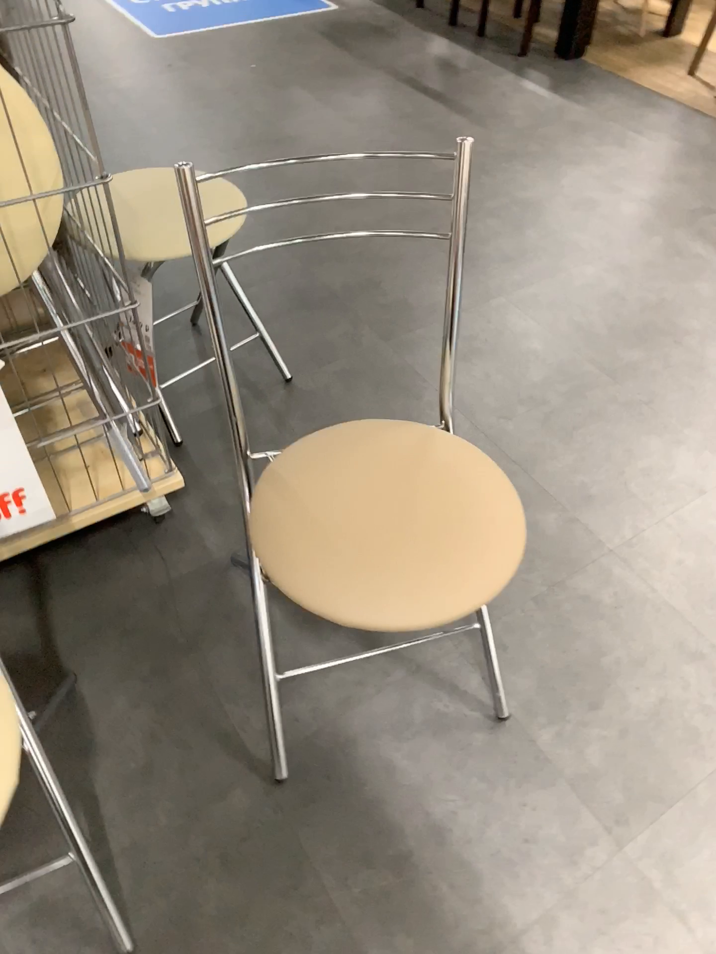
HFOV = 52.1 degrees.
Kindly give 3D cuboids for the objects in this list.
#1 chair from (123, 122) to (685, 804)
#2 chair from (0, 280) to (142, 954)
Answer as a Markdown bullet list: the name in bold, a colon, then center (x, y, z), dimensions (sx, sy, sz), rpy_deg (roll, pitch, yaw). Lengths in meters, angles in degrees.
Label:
- **chair**: center (-0.005, 0.022, 1.048), dimensions (0.440, 0.796, 0.492), rpy_deg (-12, 49, -13)
- **chair**: center (-0.632, 0.318, 0.772), dimensions (0.521, 0.776, 0.492), rpy_deg (-21, 52, -20)
